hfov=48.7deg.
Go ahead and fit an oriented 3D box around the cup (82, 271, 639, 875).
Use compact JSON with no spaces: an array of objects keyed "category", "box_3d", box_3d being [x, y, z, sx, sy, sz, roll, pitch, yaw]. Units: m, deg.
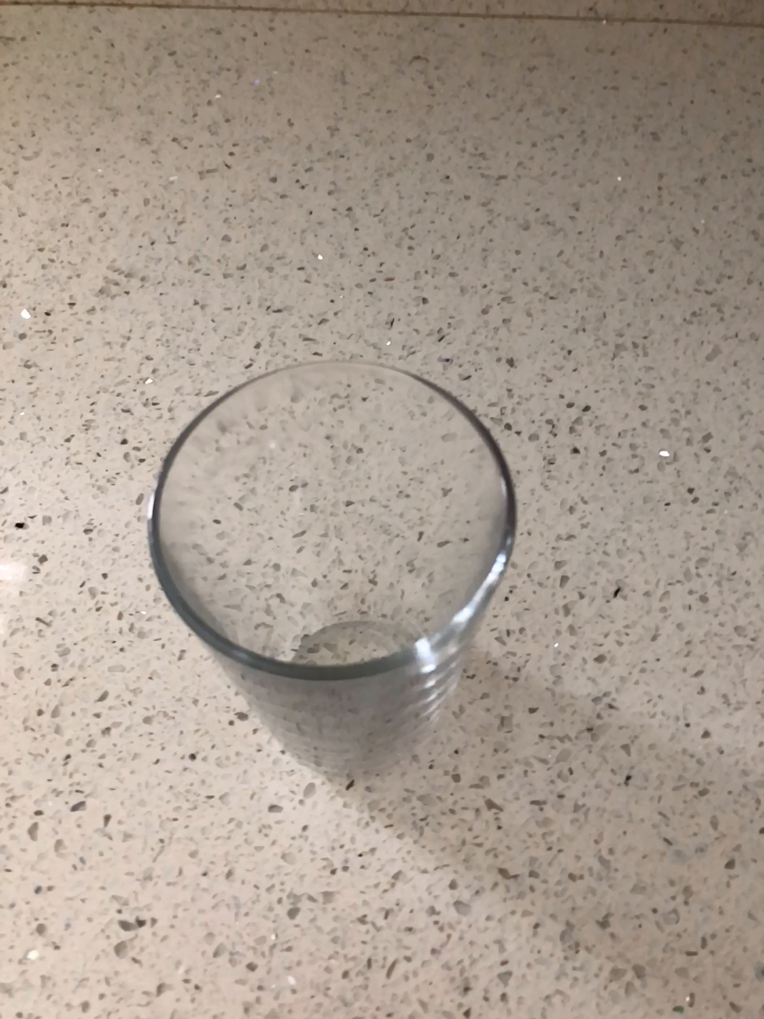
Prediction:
[{"category":"cup","box_3d":[-0.006,0.023,0.204,0.074,0.114,0.080,-1,59,1]}]
